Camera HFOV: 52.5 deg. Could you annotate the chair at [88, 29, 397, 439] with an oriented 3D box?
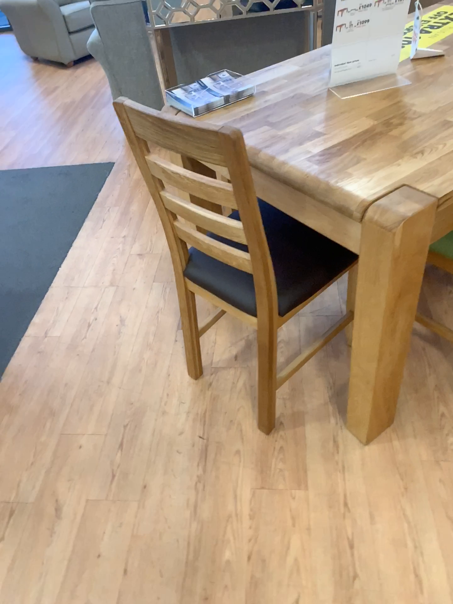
[{"bbox_3d":[0.089,-0.160,1.288,0.519,0.917,0.423,-38,50,-27],"label":"chair"}]
